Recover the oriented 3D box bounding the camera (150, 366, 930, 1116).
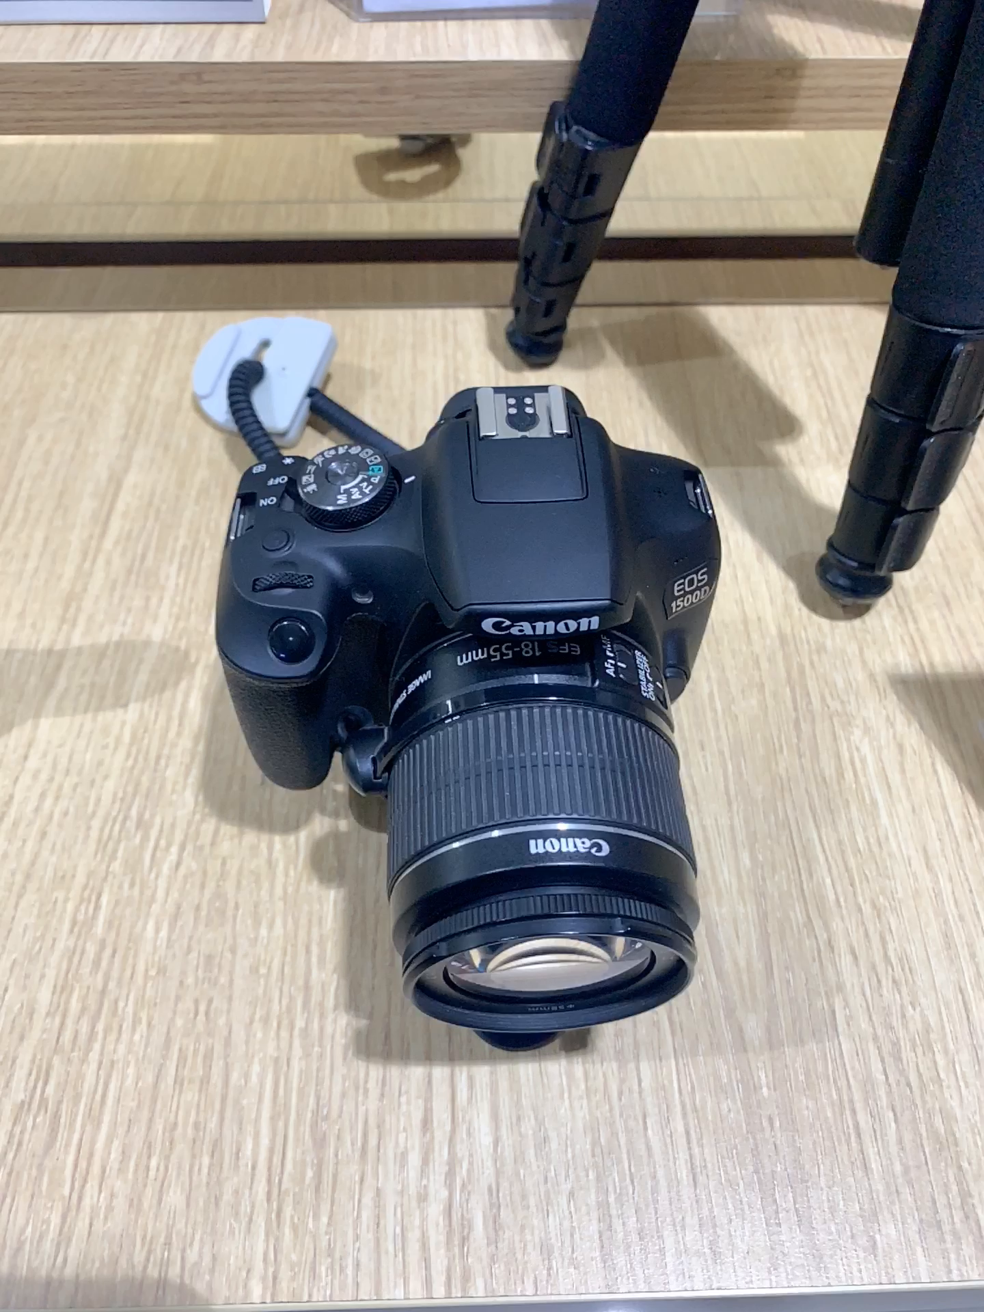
[{"bbox_3d":[0.003,0.015,0.236,0.121,0.088,0.140,-3,51,-3],"label":"camera"}]
